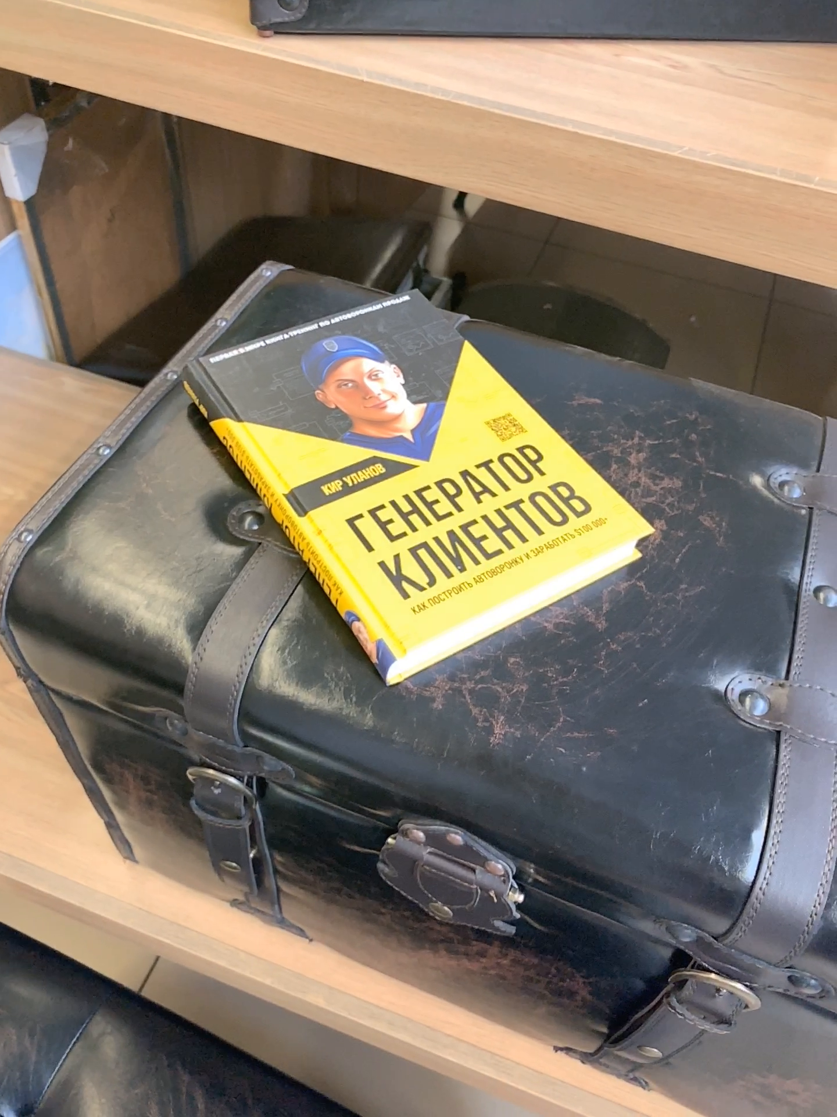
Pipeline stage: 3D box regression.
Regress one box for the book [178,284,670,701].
[{"bbox_3d":[-0.007,-0.057,0.485,0.167,0.030,0.243,-24,56,-22],"label":"book"}]
